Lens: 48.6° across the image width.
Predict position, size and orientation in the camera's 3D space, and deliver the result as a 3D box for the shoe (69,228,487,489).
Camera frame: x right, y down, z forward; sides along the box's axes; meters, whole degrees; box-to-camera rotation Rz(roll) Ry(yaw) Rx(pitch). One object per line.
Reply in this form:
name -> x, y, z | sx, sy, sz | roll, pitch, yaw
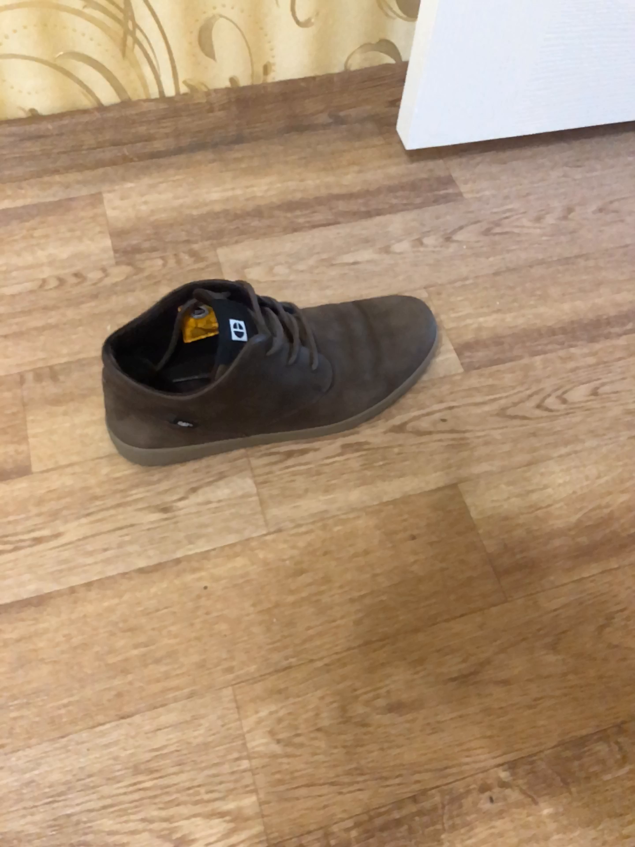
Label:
shoe -> -0.029, -0.050, 0.528 | 0.270, 0.100, 0.100 | -14, 62, -11
